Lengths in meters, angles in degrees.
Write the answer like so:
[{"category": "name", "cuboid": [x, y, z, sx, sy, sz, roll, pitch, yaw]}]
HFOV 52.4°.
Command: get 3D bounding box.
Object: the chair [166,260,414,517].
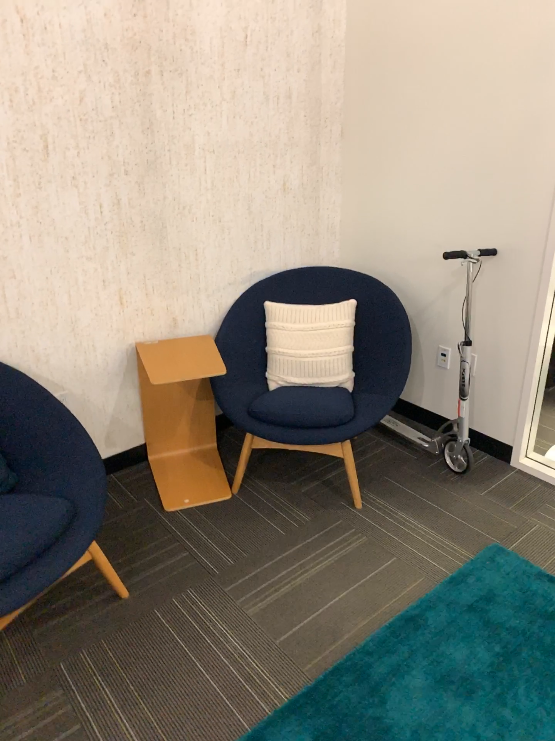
[{"category": "chair", "cuboid": [0.114, 0.009, 2.557, 0.890, 0.816, 0.884, 3, 23, 10]}]
